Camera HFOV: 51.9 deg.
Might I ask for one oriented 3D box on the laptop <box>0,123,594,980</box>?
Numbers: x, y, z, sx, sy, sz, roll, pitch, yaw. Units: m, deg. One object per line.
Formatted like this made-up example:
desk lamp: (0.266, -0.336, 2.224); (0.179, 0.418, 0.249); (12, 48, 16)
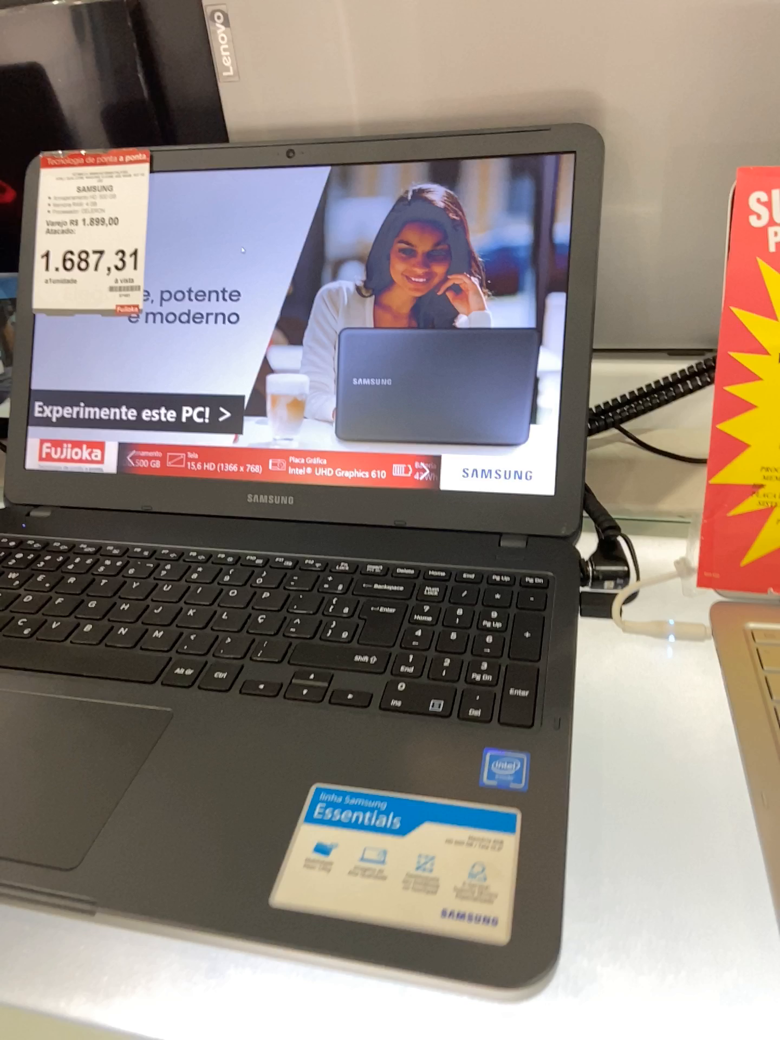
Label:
laptop: (-0.098, -0.052, 0.389); (0.366, 0.196, 0.372); (3, 31, 14)
